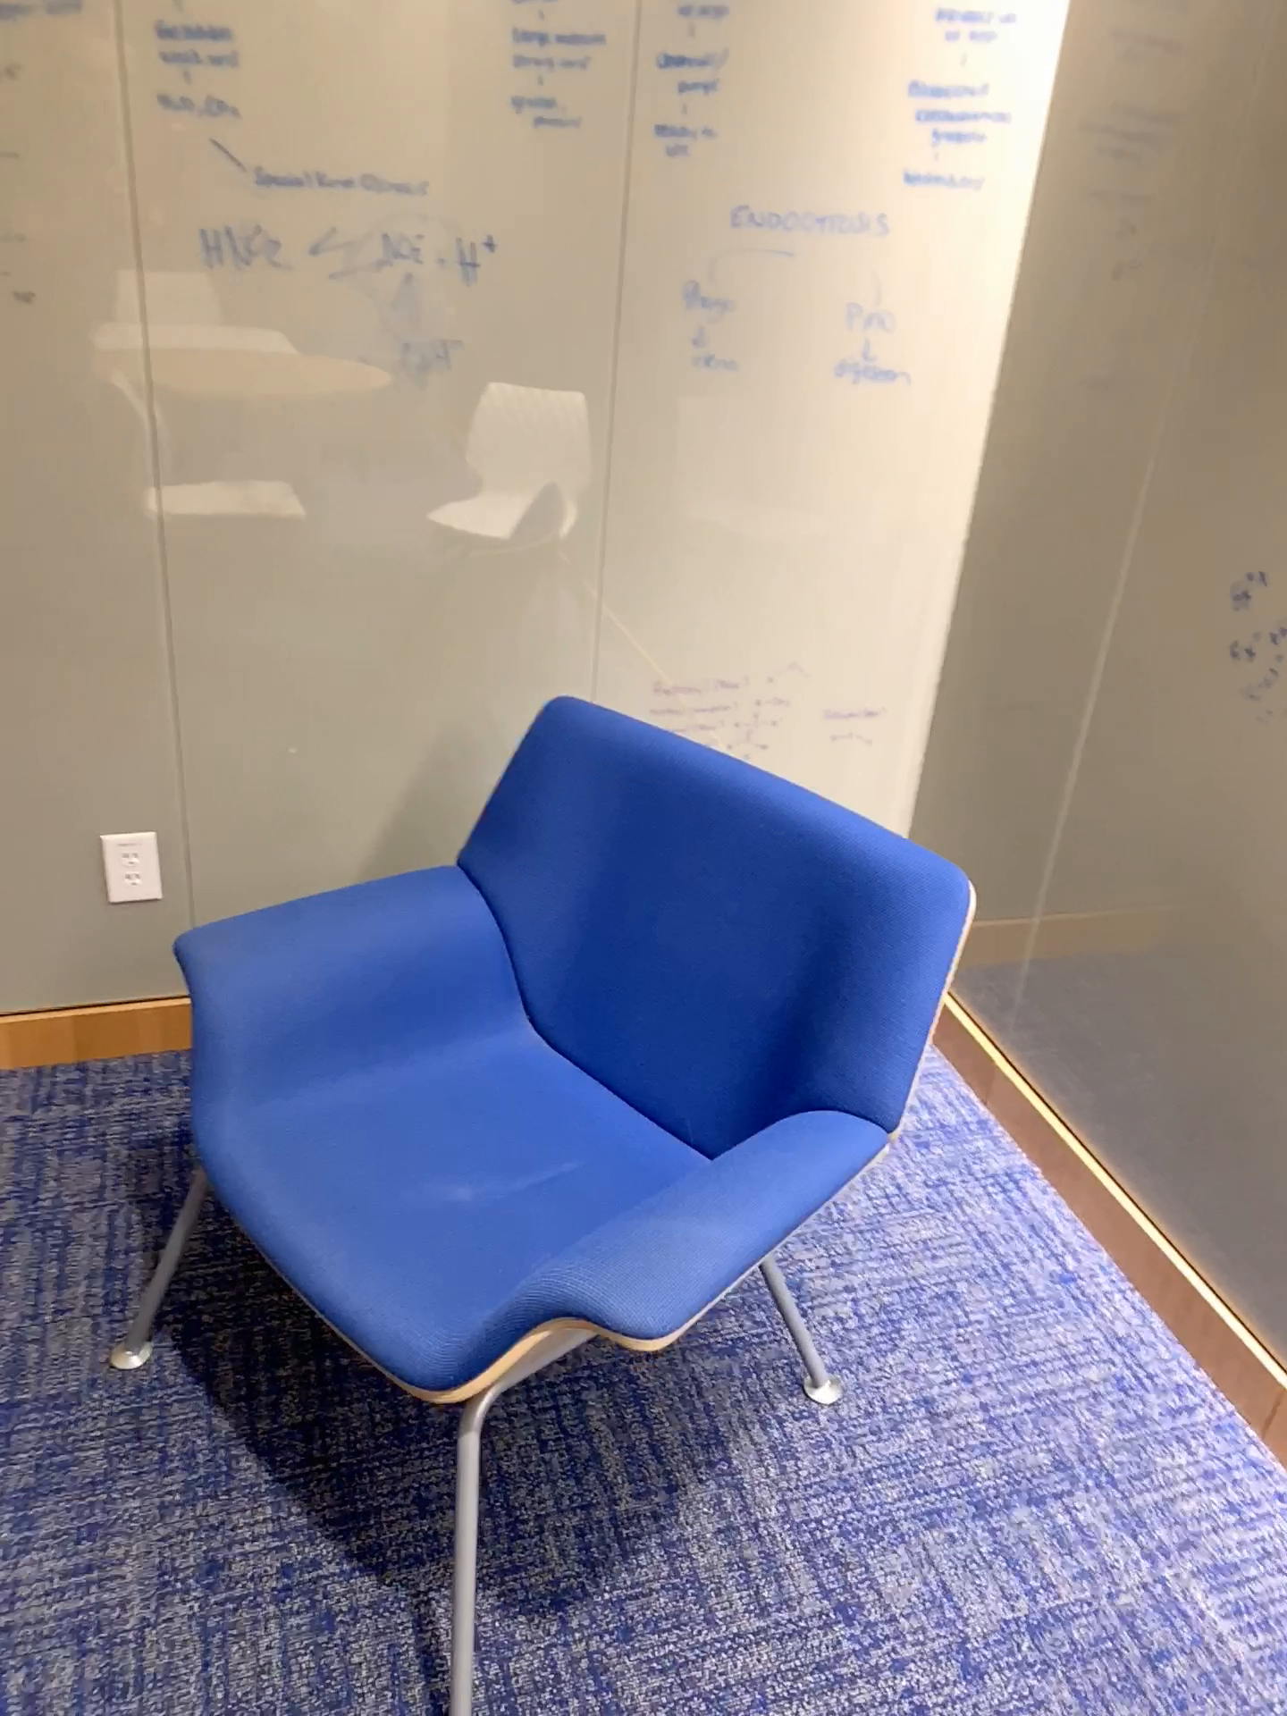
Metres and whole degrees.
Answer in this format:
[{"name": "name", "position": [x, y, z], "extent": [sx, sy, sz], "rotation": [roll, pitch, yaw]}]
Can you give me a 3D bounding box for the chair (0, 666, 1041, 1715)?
[{"name": "chair", "position": [-0.167, 0.305, 1.479], "extent": [0.741, 0.713, 0.791], "rotation": [-21, 37, -41]}]
